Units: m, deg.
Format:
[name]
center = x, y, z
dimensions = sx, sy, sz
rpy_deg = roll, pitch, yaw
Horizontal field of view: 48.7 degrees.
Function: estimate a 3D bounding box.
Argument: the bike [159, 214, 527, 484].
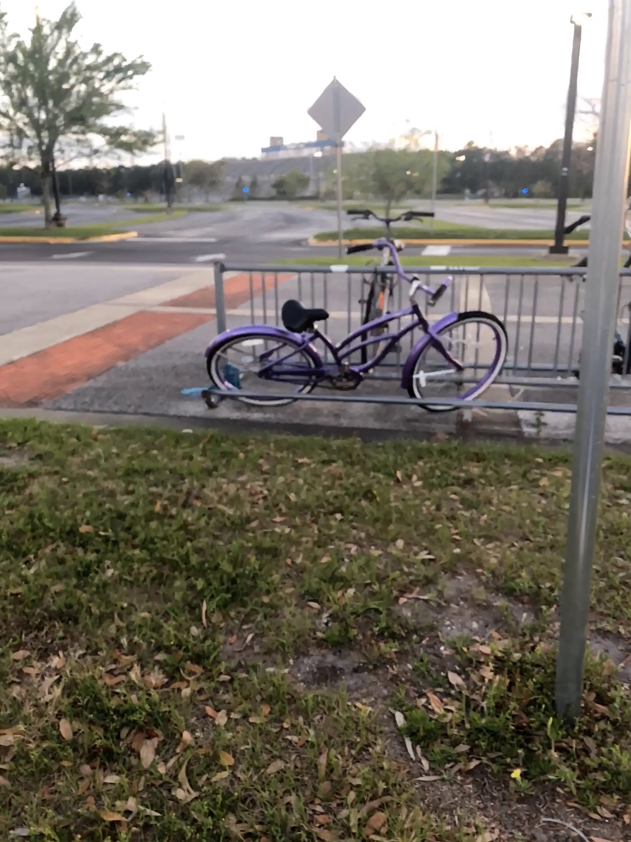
[bike]
center = 0.201, -0.439, 3.773
dimensions = 1.699, 1.118, 0.853
rpy_deg = -4, 17, 2
